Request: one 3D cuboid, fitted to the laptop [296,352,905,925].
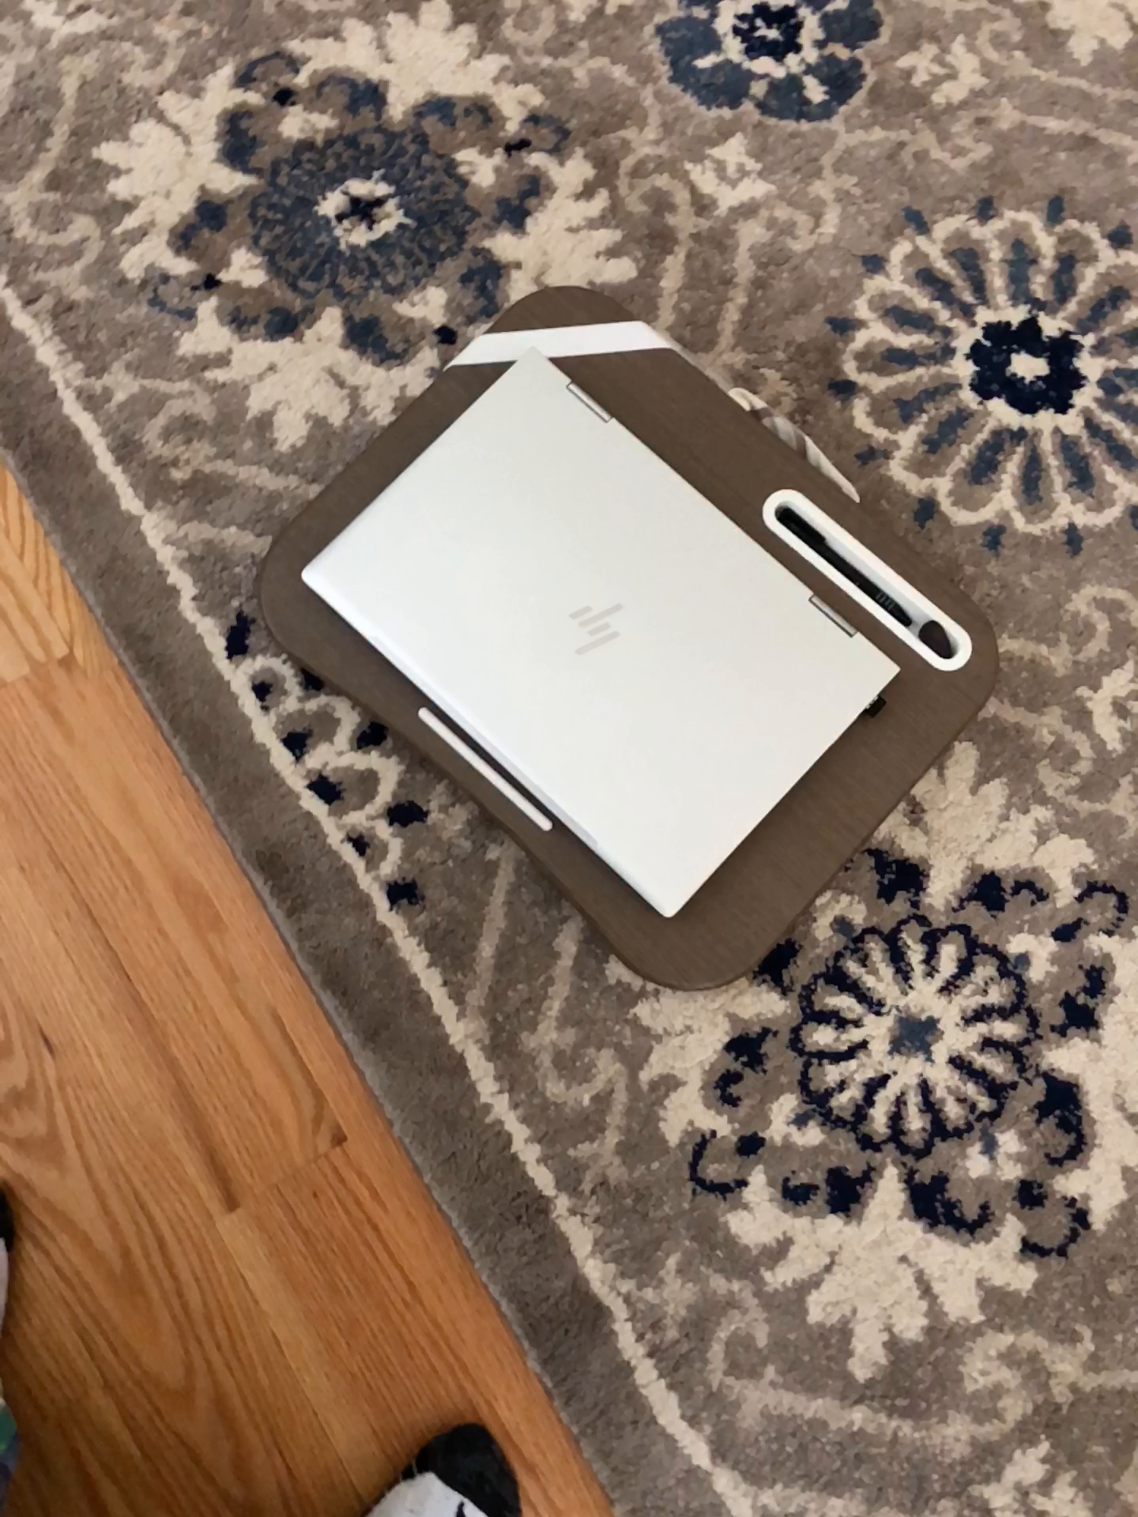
[{"bbox_3d":[0.020,-0.093,0.885,0.354,0.026,0.241,43,80,8],"label":"laptop"}]
